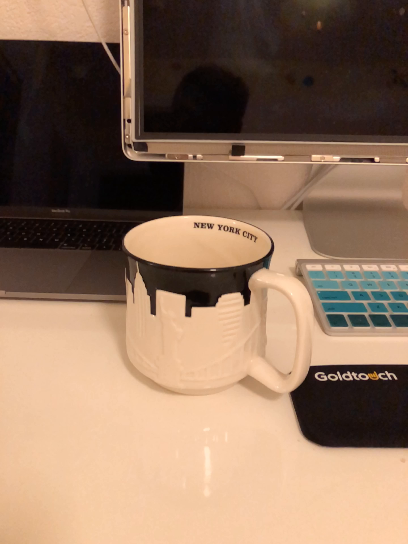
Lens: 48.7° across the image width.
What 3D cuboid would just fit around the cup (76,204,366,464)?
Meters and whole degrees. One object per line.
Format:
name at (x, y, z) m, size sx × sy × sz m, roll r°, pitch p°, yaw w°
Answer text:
cup at (0.009, 0.024, 0.308) m, size 0.150 × 0.090 × 0.110 m, roll 21°, pitch 32°, yaw 34°
